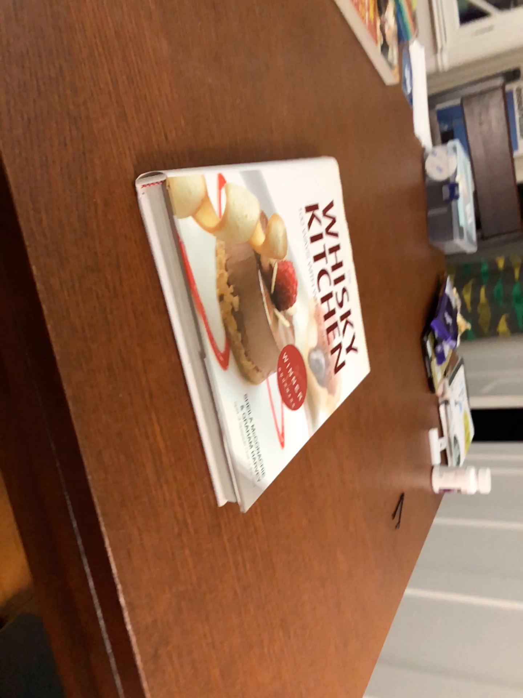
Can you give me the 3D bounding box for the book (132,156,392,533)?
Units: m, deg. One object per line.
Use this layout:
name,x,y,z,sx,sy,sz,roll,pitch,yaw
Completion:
book,0.029,-0.031,0.453,0.272,0.040,0.220,-33,114,-57
